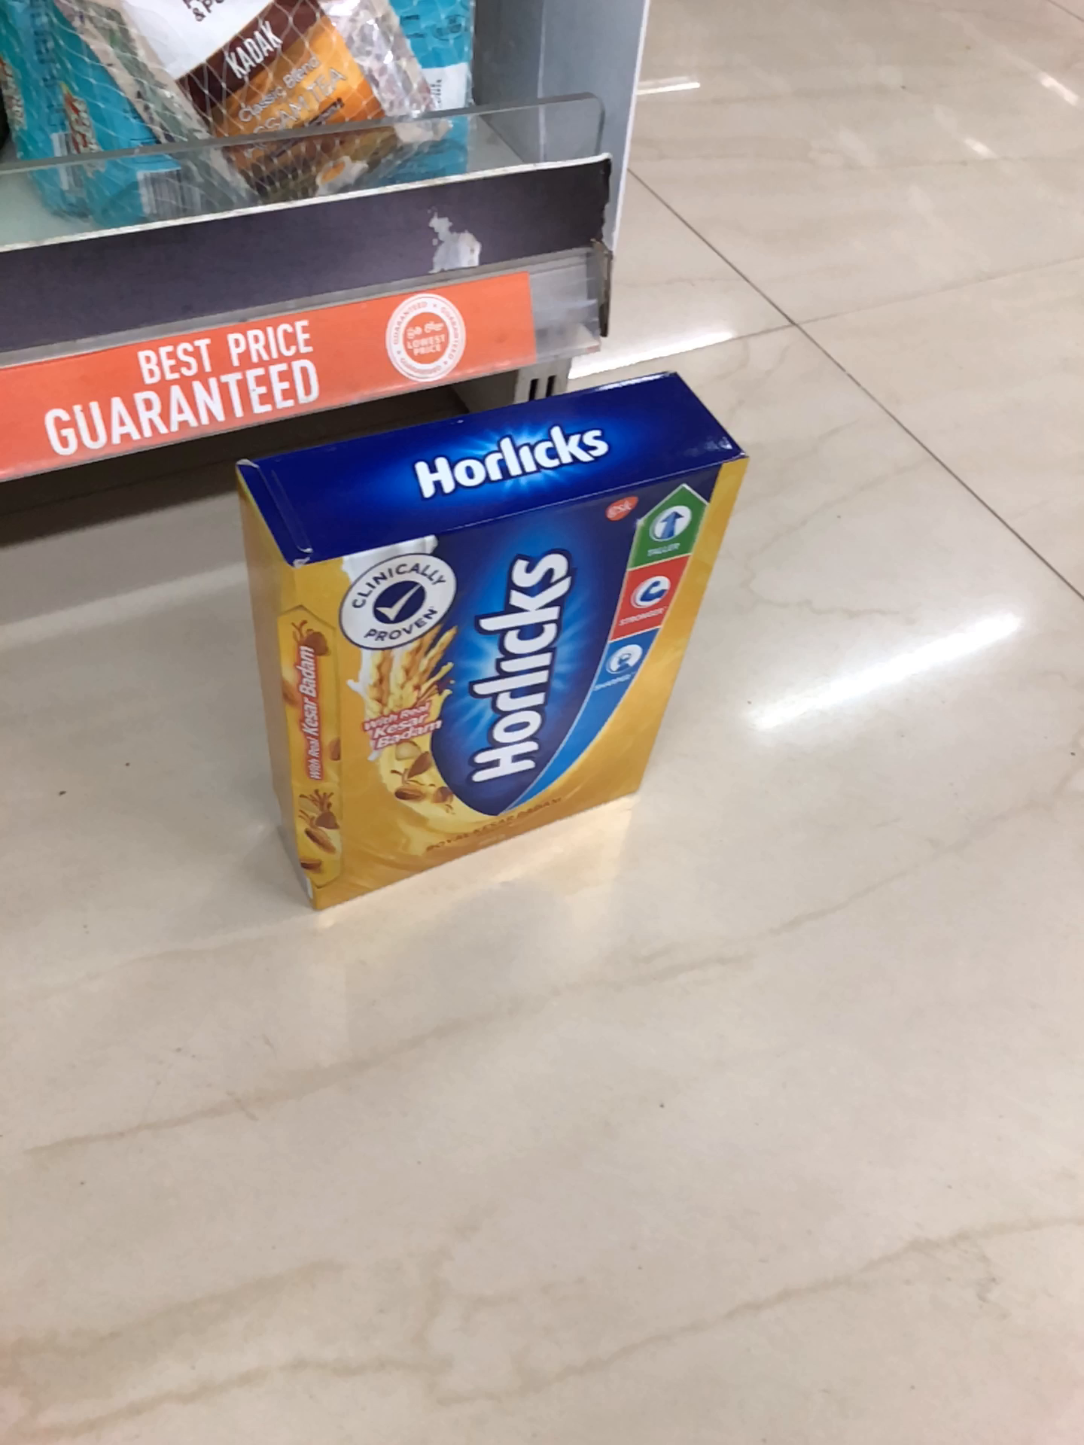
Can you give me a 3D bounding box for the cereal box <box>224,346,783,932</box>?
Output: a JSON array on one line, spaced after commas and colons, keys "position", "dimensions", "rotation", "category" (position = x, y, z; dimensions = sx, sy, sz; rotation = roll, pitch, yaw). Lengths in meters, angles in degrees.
[{"position": [-0.017, -0.021, 0.403], "dimensions": [0.150, 0.179, 0.050], "rotation": [-19, 56, -22], "category": "cereal box"}]
